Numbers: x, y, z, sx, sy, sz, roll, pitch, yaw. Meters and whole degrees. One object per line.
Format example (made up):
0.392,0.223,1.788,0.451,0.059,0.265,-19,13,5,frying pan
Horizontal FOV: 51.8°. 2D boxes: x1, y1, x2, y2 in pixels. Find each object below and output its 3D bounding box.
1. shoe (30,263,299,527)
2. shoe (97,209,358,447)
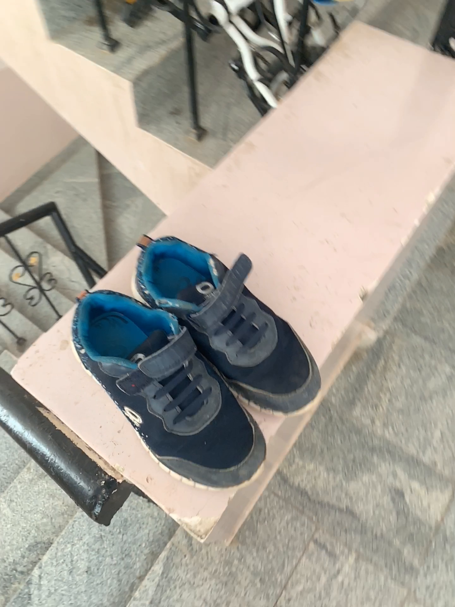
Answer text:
-0.056,0.076,0.413,0.220,0.080,0.090,39,69,19,shoe
-0.004,0.019,0.454,0.220,0.080,0.100,36,68,18,shoe
